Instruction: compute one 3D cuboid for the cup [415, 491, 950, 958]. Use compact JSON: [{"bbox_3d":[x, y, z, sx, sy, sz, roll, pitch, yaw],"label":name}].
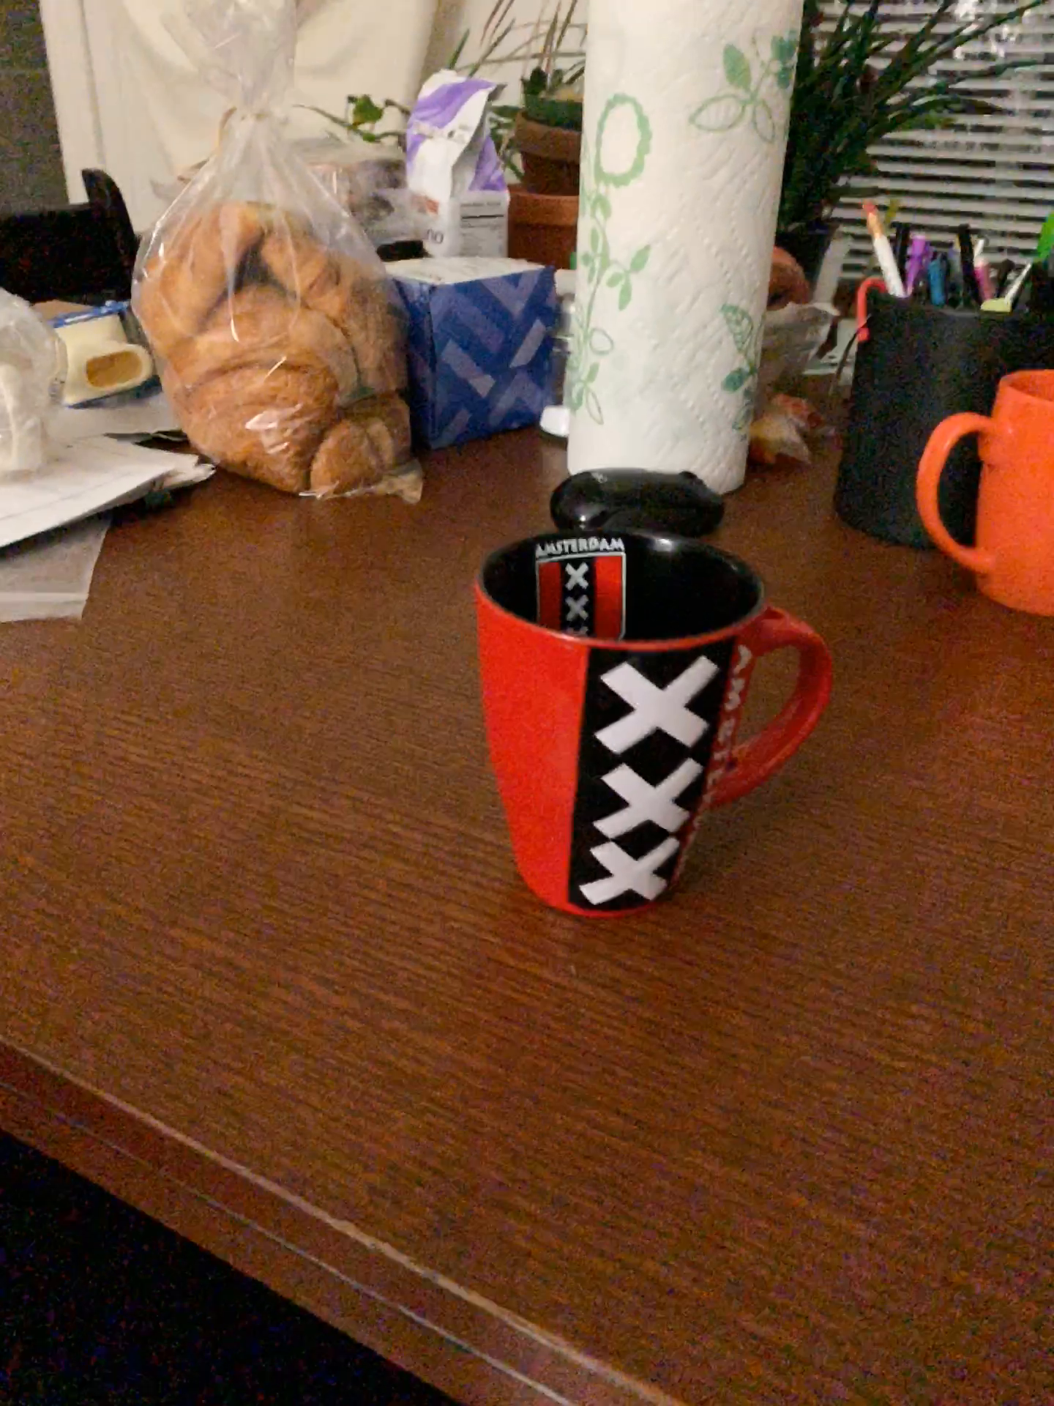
[{"bbox_3d":[0.039,0.000,0.341,0.130,0.099,0.091,-7,30,-16],"label":"cup"}]
